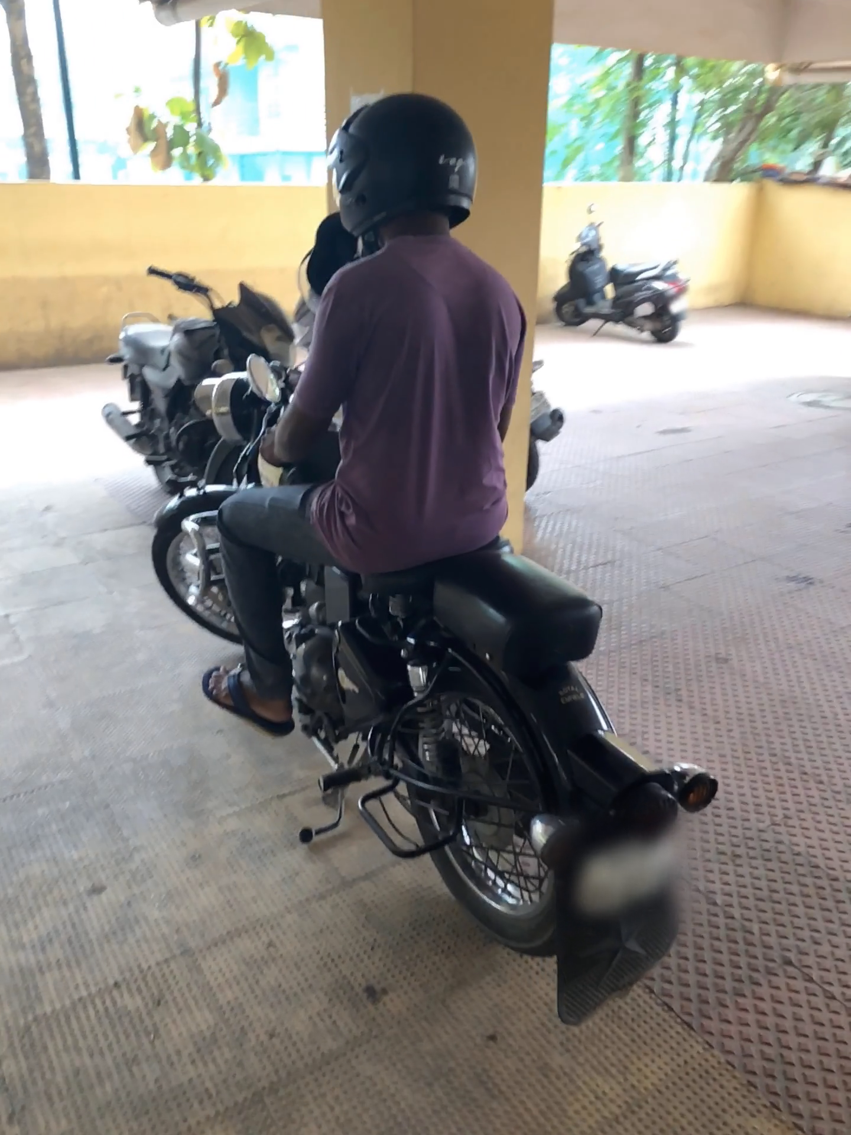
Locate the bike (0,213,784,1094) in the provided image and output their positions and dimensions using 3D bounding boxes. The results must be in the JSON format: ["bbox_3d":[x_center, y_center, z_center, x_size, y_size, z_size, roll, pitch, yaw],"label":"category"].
[{"bbox_3d":[-0.285,-0.066,2.126,0.727,1.096,1.768,-16,33,-36],"label":"bike"}]
